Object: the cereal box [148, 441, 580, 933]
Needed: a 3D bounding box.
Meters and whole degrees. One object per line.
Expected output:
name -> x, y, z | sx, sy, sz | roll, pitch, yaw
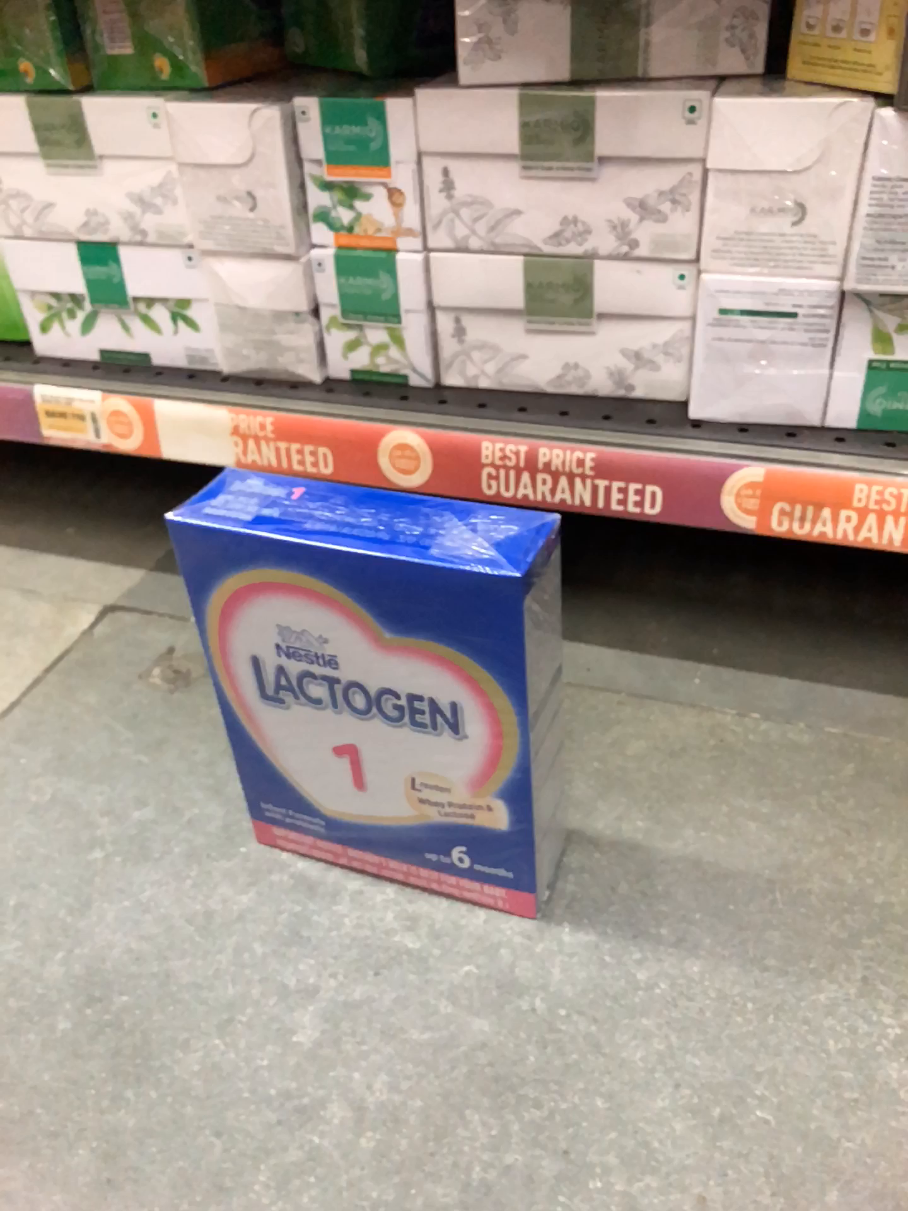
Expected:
cereal box -> -0.029, 0.038, 0.442 | 0.160, 0.199, 0.050 | 10, 38, 21
